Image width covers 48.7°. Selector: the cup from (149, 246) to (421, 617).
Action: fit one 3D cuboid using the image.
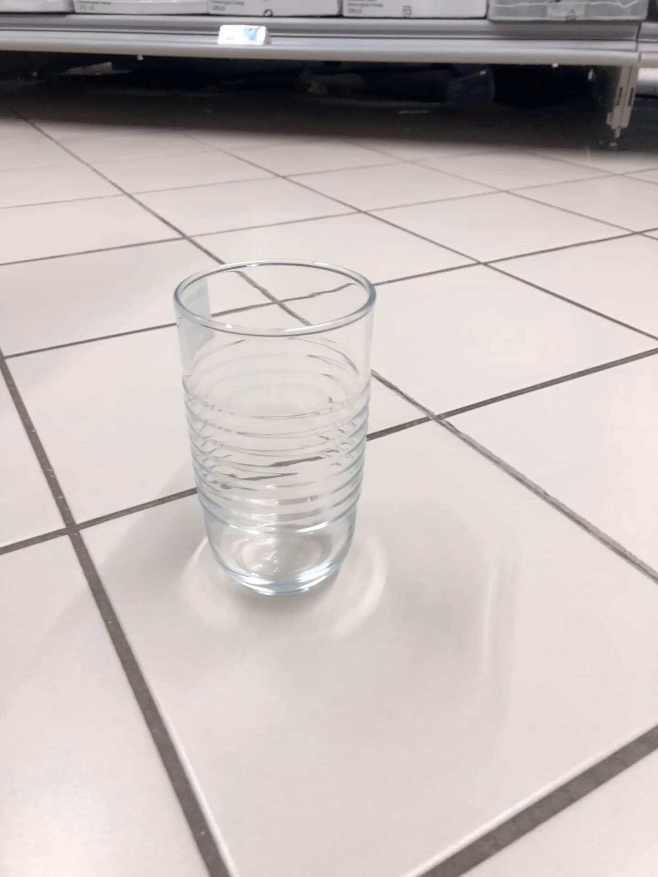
[{"bbox_3d":[-0.017,-0.006,0.264,0.076,0.104,0.079,0,31,0],"label":"cup"}]
